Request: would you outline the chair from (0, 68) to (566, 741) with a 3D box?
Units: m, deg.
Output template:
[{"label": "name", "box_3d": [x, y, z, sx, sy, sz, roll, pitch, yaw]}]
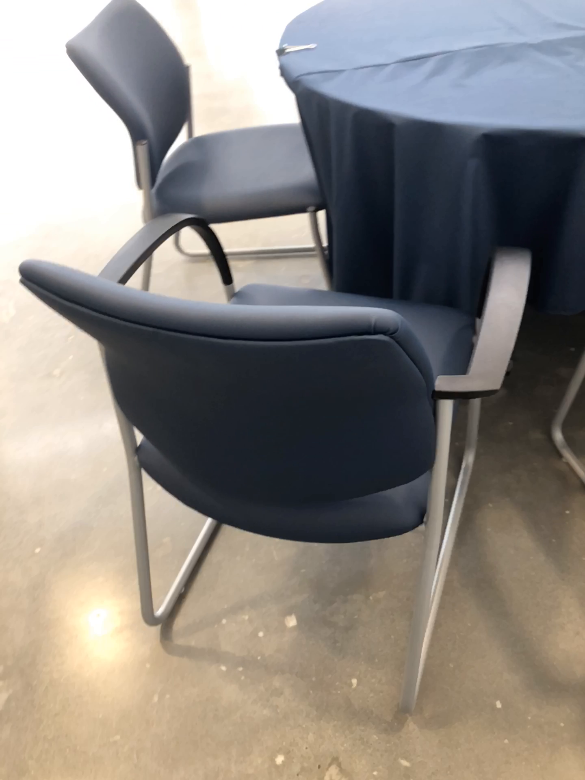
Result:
[{"label": "chair", "box_3d": [0.018, -0.008, 1.062, 0.641, 0.765, 0.674, 10, 47, 19]}]
